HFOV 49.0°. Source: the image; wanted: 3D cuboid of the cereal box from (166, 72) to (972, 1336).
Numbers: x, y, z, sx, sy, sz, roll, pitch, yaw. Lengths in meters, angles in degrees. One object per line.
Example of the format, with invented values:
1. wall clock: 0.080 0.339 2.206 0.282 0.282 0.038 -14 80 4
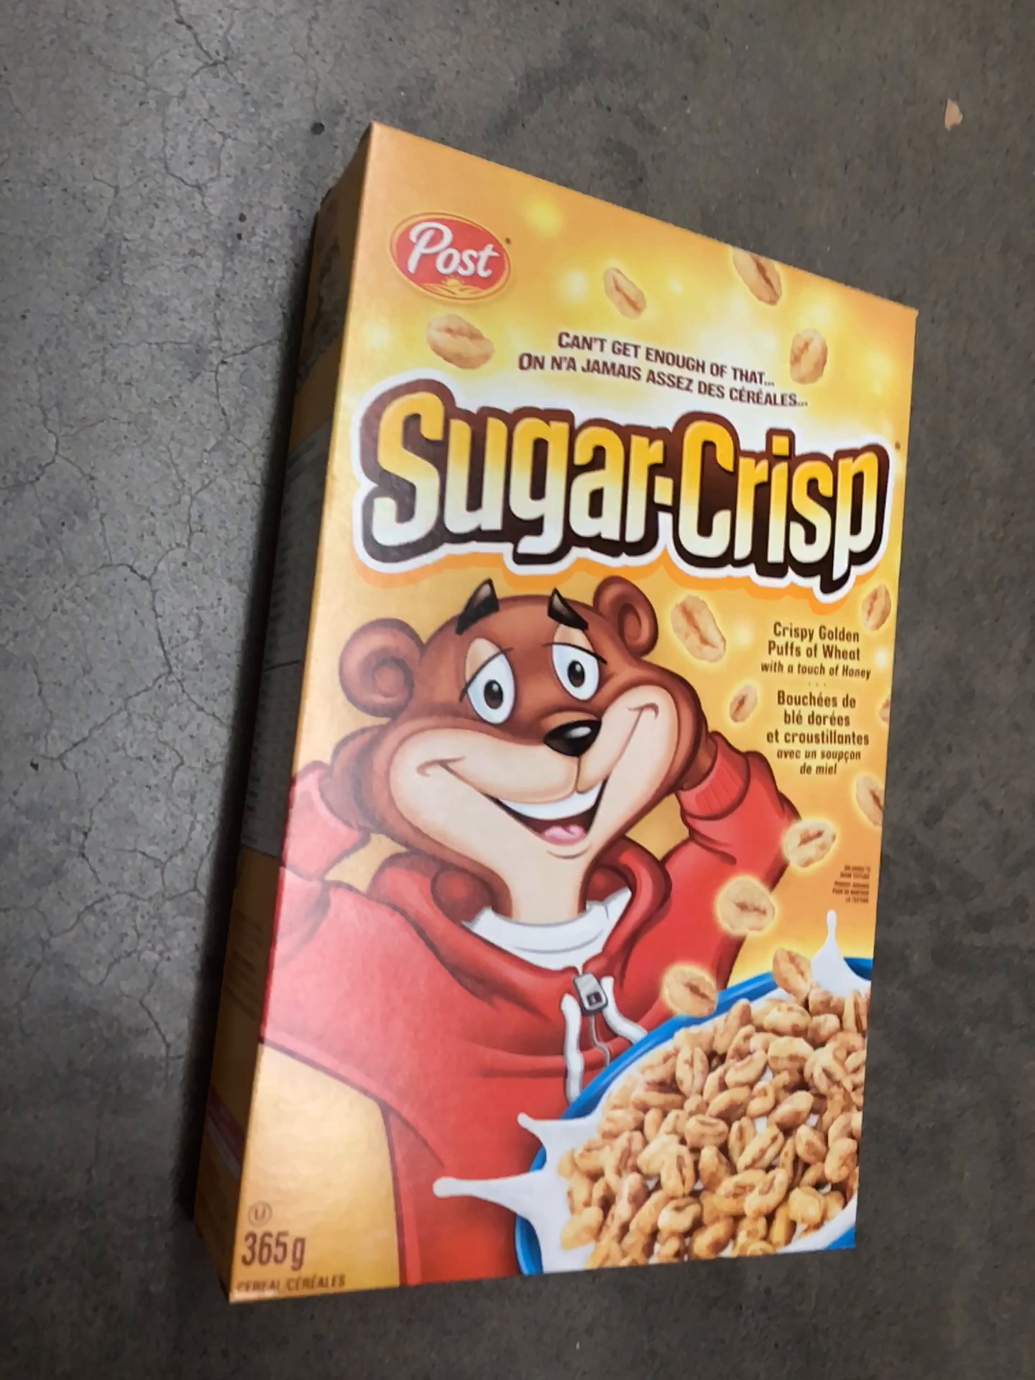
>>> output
1. cereal box: 0.024 0.011 0.334 0.200 0.060 0.300 9 85 -23
